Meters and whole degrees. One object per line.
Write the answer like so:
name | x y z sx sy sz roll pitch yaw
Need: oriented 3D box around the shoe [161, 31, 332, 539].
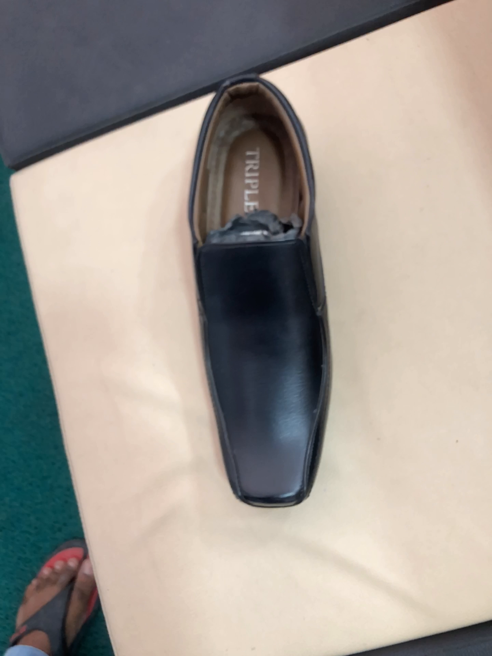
shoe | 0.003 -0.026 0.384 0.090 0.100 0.310 -4 81 10
